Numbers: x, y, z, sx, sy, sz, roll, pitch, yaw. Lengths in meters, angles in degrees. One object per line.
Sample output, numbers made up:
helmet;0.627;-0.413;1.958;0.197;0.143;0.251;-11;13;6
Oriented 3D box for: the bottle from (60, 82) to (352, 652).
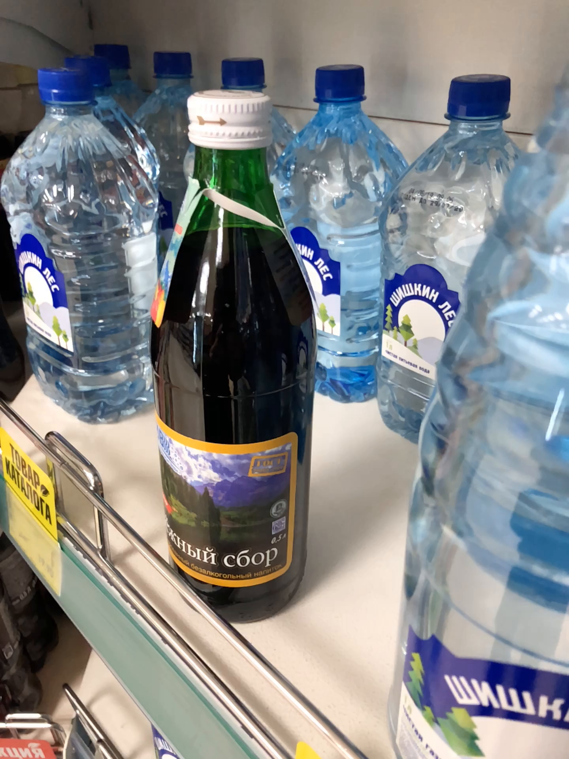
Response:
bottle;-0.025;-0.001;0.267;0.068;0.219;0.075;-25;37;-35
